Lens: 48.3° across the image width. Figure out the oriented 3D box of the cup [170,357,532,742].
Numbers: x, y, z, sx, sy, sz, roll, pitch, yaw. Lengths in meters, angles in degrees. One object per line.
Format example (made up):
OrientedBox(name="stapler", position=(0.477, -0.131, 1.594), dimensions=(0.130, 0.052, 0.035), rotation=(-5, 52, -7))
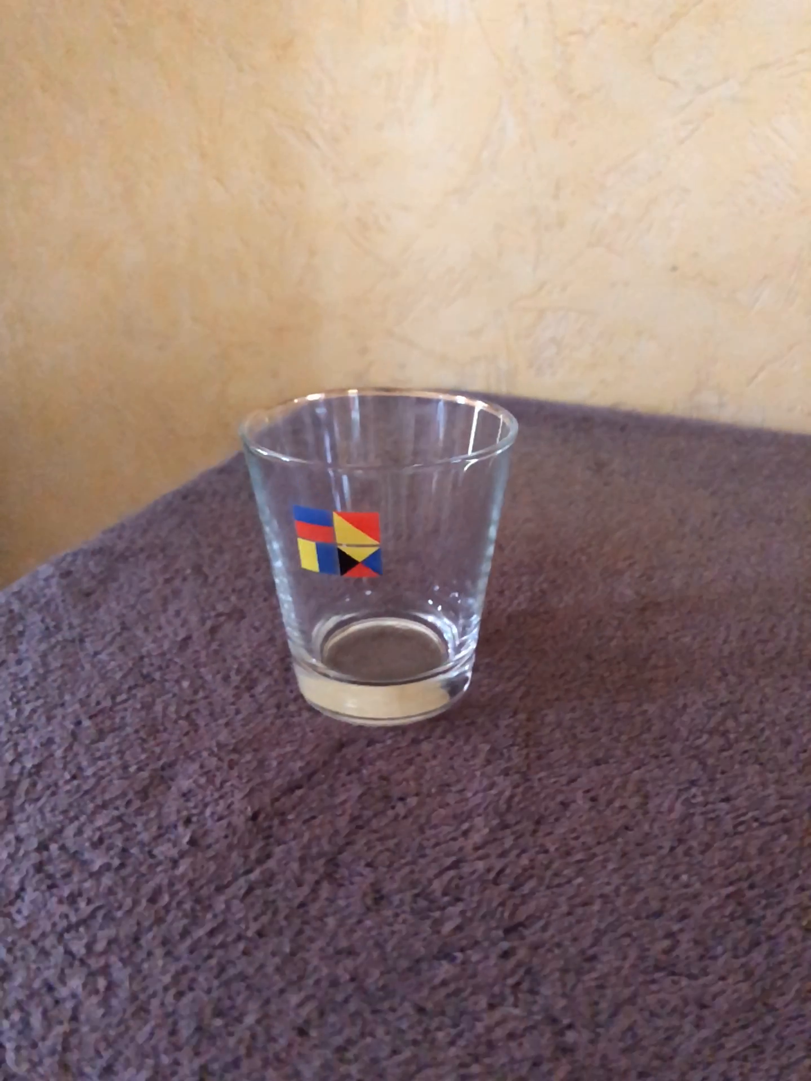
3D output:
OrientedBox(name="cup", position=(-0.008, -0.003, 0.262), dimensions=(0.080, 0.080, 0.080), rotation=(-1, 24, 0))
